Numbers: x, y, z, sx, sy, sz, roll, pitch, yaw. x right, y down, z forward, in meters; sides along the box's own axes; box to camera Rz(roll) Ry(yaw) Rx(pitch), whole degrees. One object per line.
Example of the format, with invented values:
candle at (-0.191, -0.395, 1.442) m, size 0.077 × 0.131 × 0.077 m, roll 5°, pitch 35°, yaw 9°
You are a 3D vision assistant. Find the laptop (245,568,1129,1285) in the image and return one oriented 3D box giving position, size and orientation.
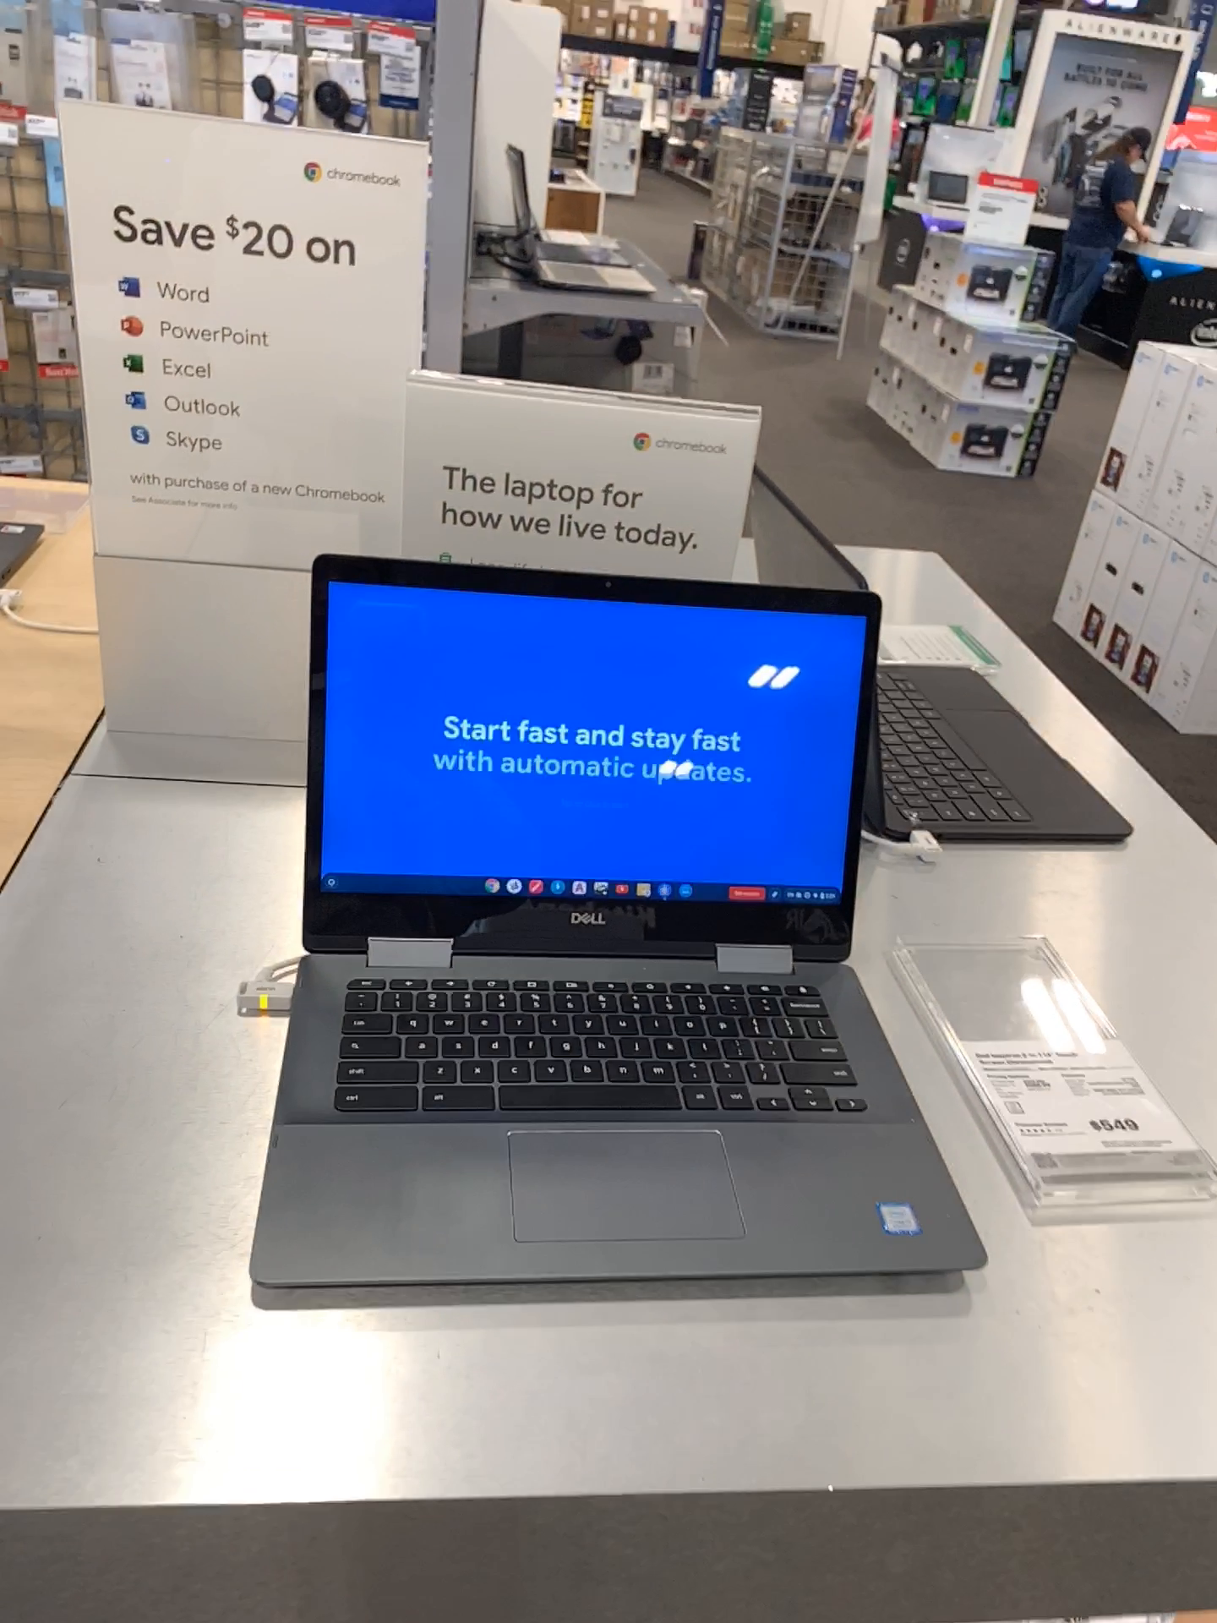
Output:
laptop at (0.008, 0.033, 0.603) m, size 0.309 × 0.202 × 0.294 m, roll 1°, pitch 29°, yaw -9°
